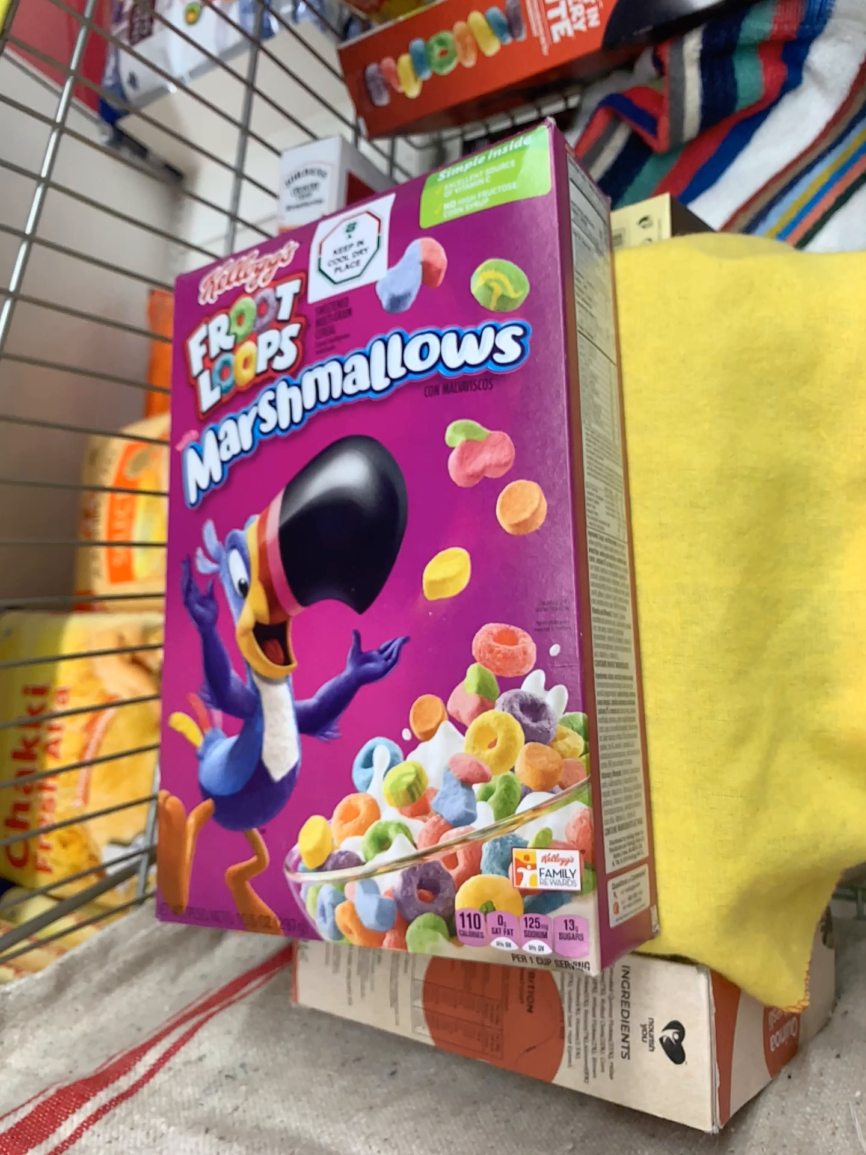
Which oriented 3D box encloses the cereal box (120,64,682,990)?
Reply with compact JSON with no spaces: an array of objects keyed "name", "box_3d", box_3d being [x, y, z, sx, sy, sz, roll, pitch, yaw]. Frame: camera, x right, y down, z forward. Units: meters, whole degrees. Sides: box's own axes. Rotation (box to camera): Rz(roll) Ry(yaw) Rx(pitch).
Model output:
[{"name":"cereal box","box_3d":[-0.020,-0.011,0.336,0.191,0.070,0.270,-7,79,32]}]
